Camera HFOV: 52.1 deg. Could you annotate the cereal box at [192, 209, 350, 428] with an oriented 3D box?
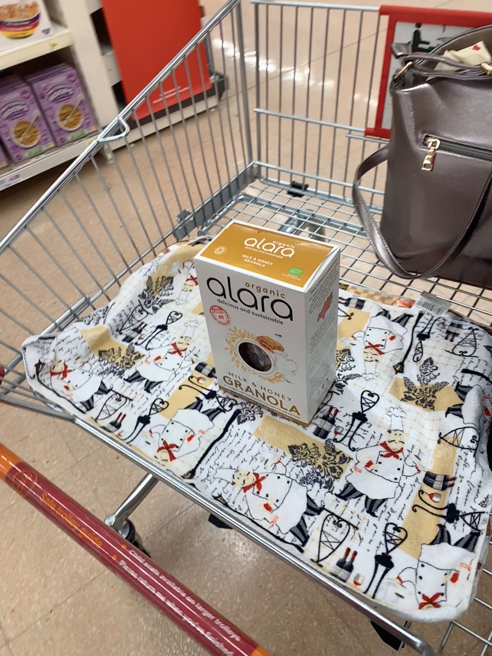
[{"bbox_3d":[0.031,-0.005,0.528,0.120,0.198,0.080,19,50,24],"label":"cereal box"}]
